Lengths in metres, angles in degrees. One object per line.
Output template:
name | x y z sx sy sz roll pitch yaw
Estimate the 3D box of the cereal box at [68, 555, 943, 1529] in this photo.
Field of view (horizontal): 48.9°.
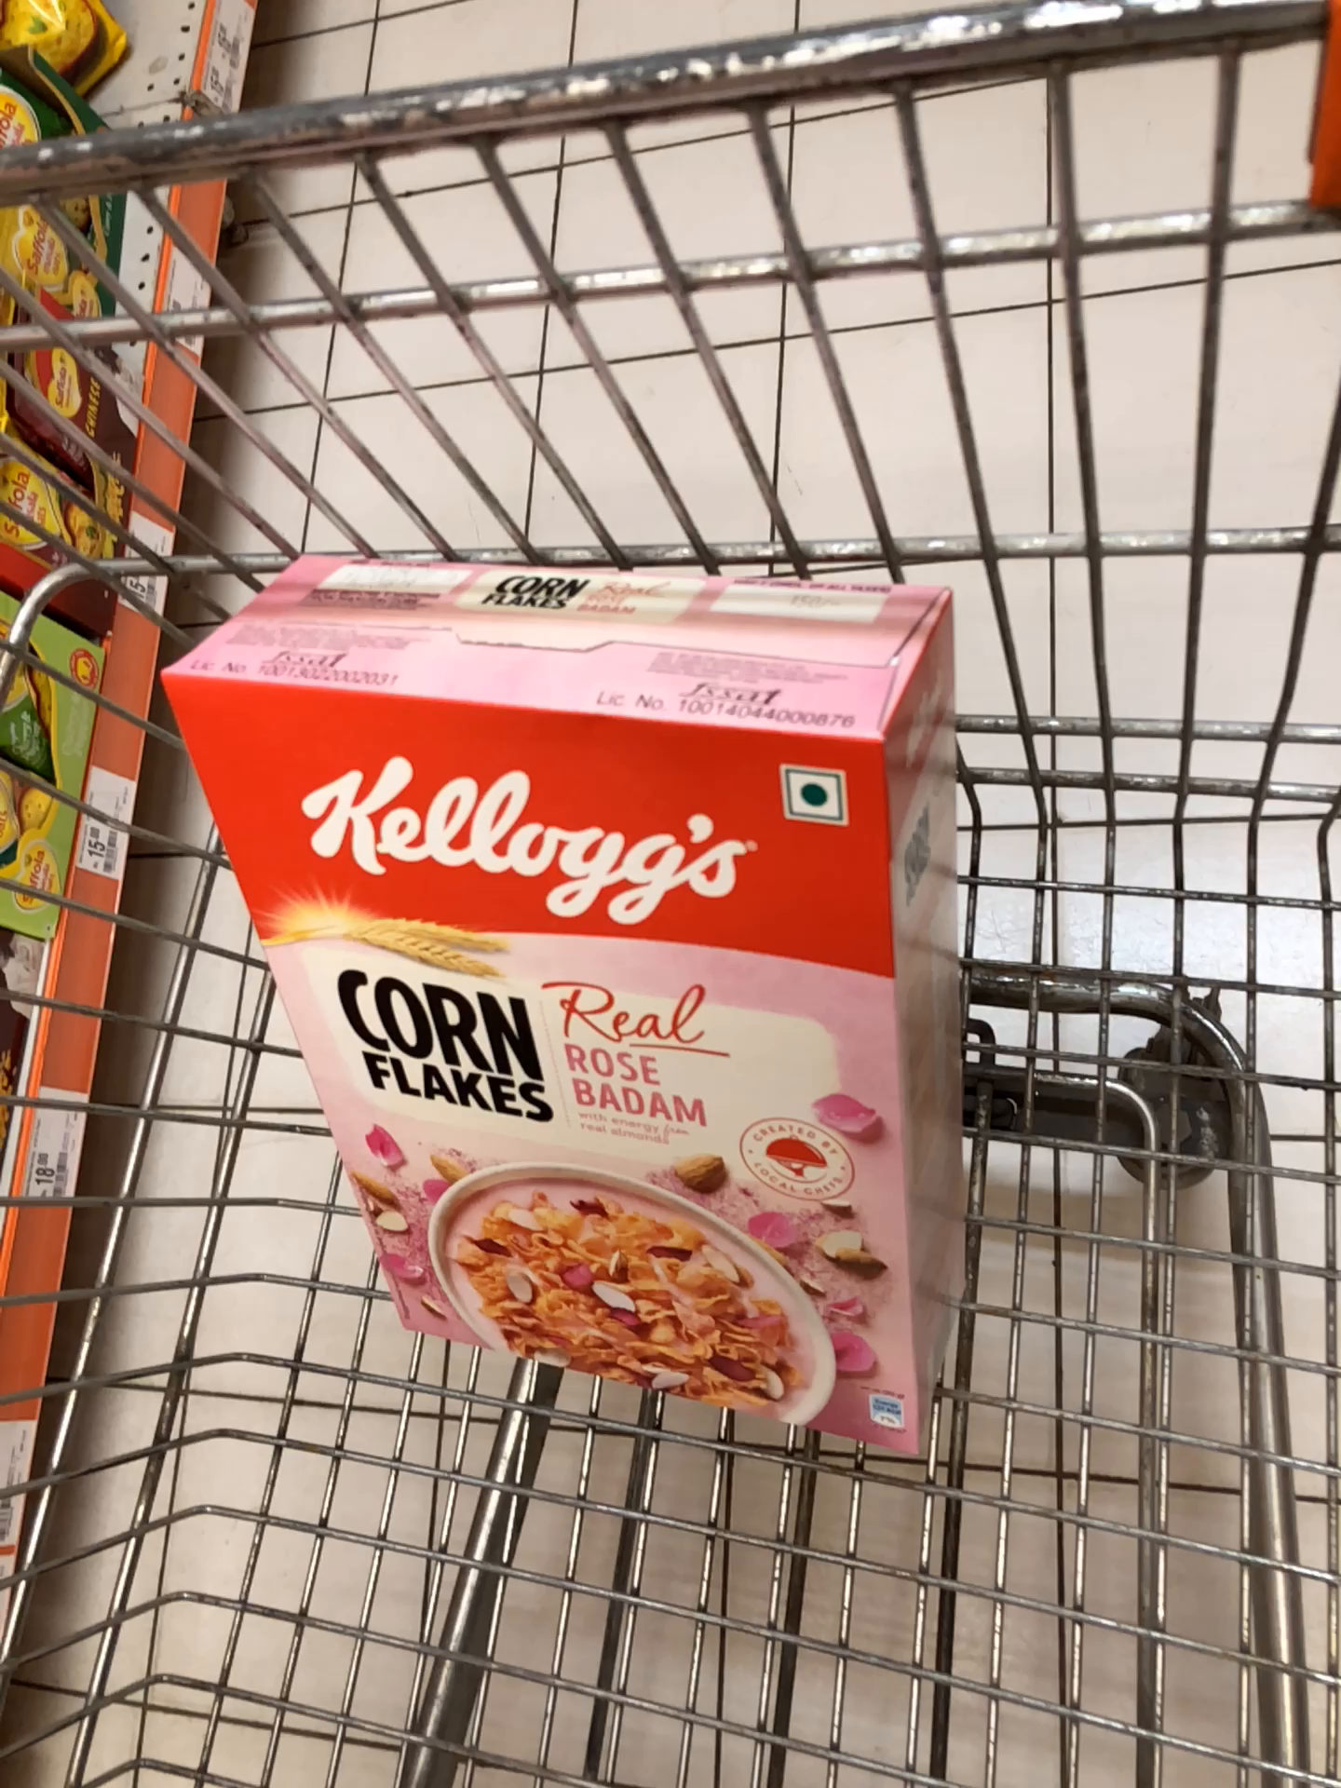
cereal box | -0.024 0.047 0.410 0.180 0.259 0.080 7 39 20
